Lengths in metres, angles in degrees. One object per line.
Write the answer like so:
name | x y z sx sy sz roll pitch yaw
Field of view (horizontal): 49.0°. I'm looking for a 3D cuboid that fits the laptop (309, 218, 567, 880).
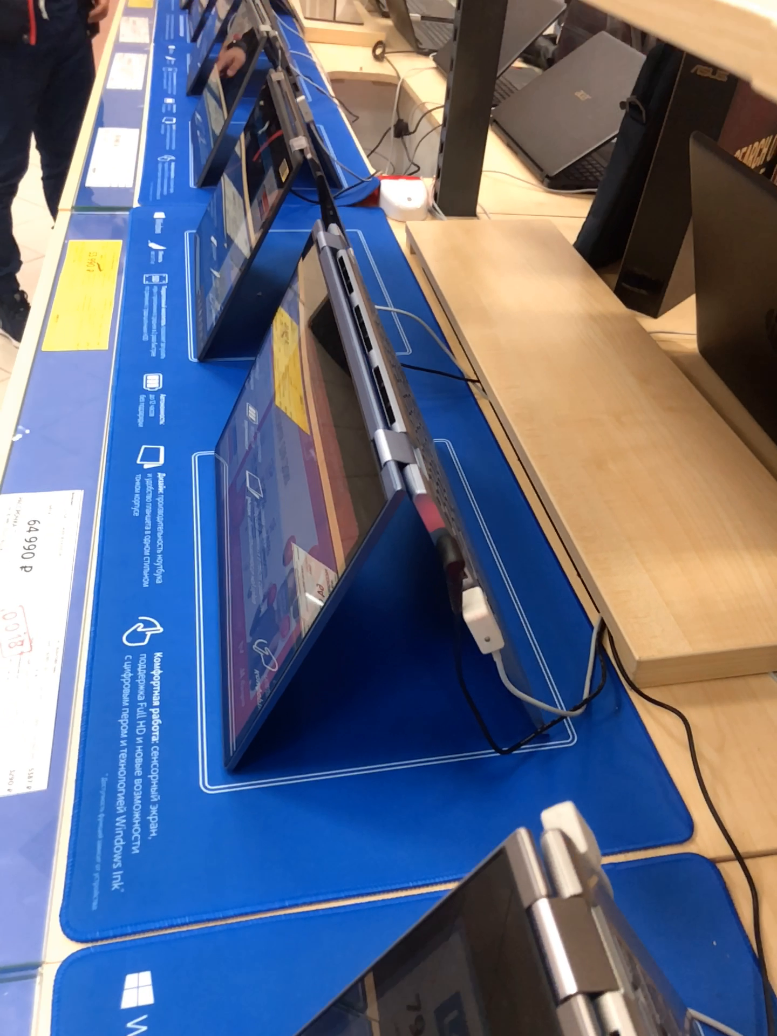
laptop | 0.025 0.035 0.658 0.221 0.157 0.307 28 27 -35
